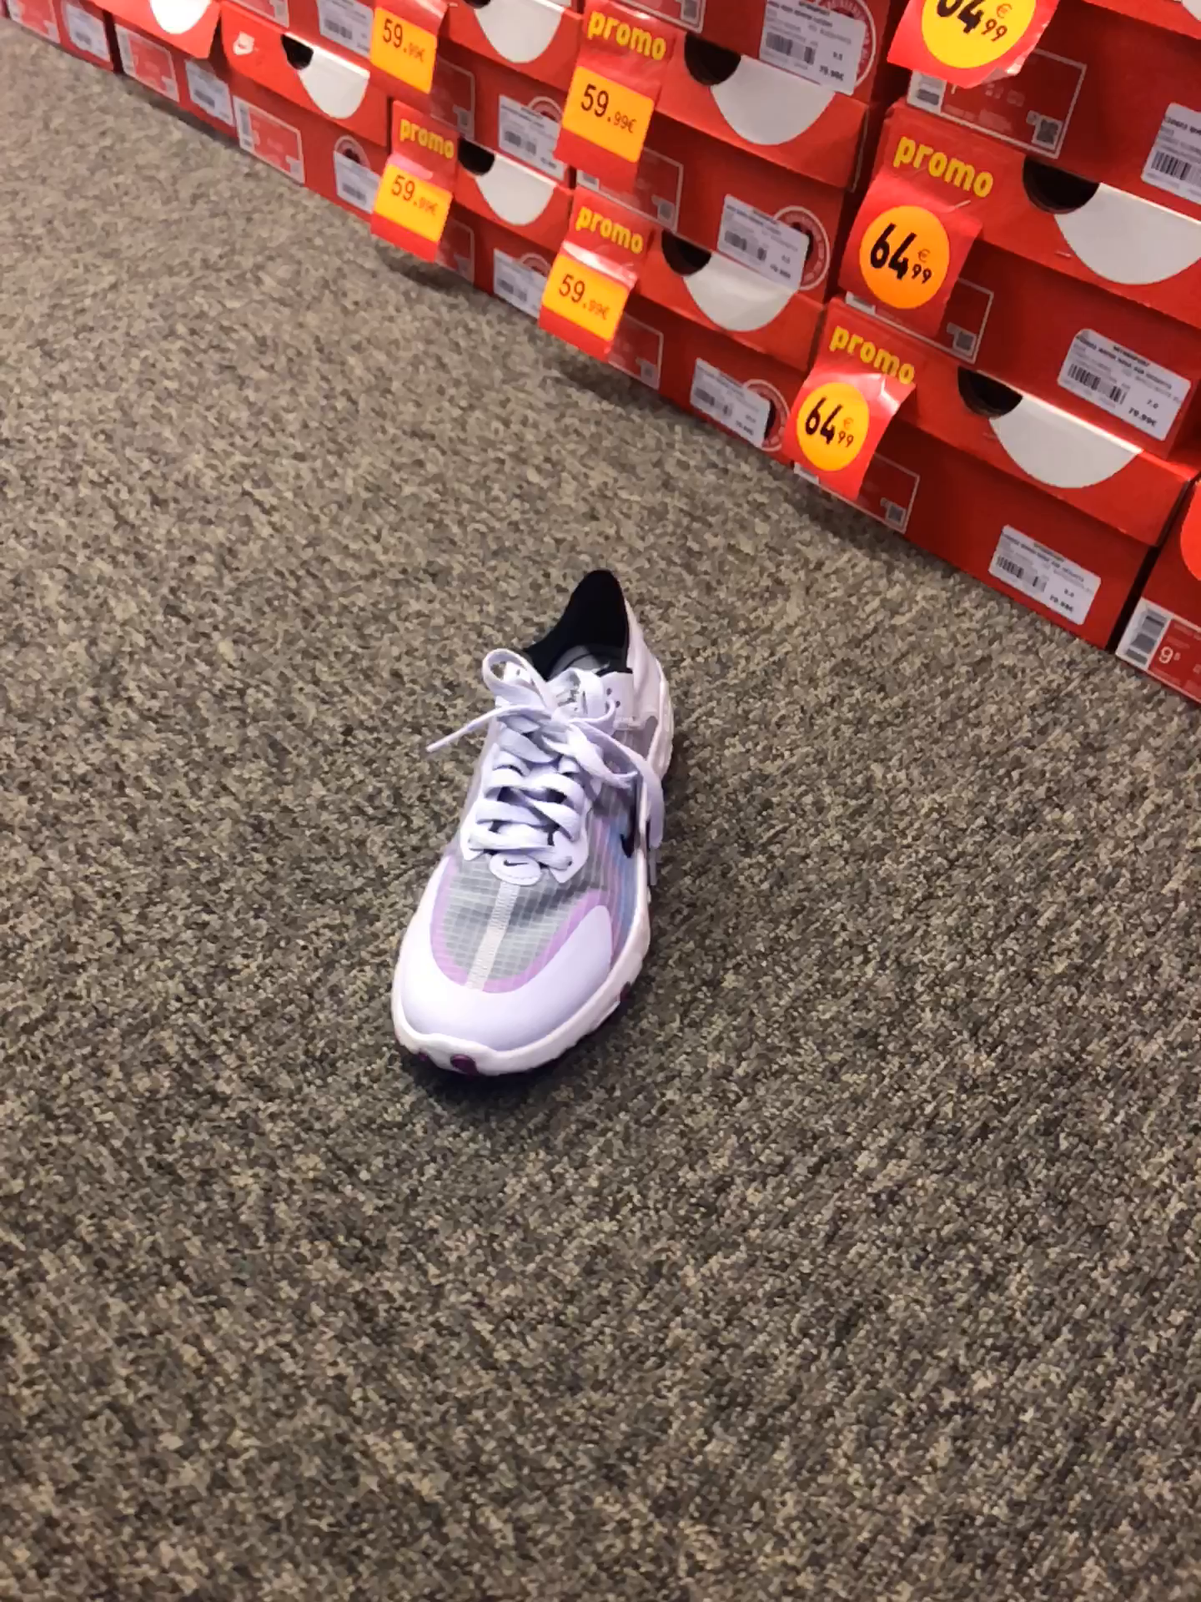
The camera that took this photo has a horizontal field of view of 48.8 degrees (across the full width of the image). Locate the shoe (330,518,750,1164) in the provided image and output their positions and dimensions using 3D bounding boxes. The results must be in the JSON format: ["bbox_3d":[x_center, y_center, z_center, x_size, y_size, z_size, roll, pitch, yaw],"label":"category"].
[{"bbox_3d":[-0.014,0.003,0.566,0.100,0.099,0.262,13,47,7],"label":"shoe"}]
